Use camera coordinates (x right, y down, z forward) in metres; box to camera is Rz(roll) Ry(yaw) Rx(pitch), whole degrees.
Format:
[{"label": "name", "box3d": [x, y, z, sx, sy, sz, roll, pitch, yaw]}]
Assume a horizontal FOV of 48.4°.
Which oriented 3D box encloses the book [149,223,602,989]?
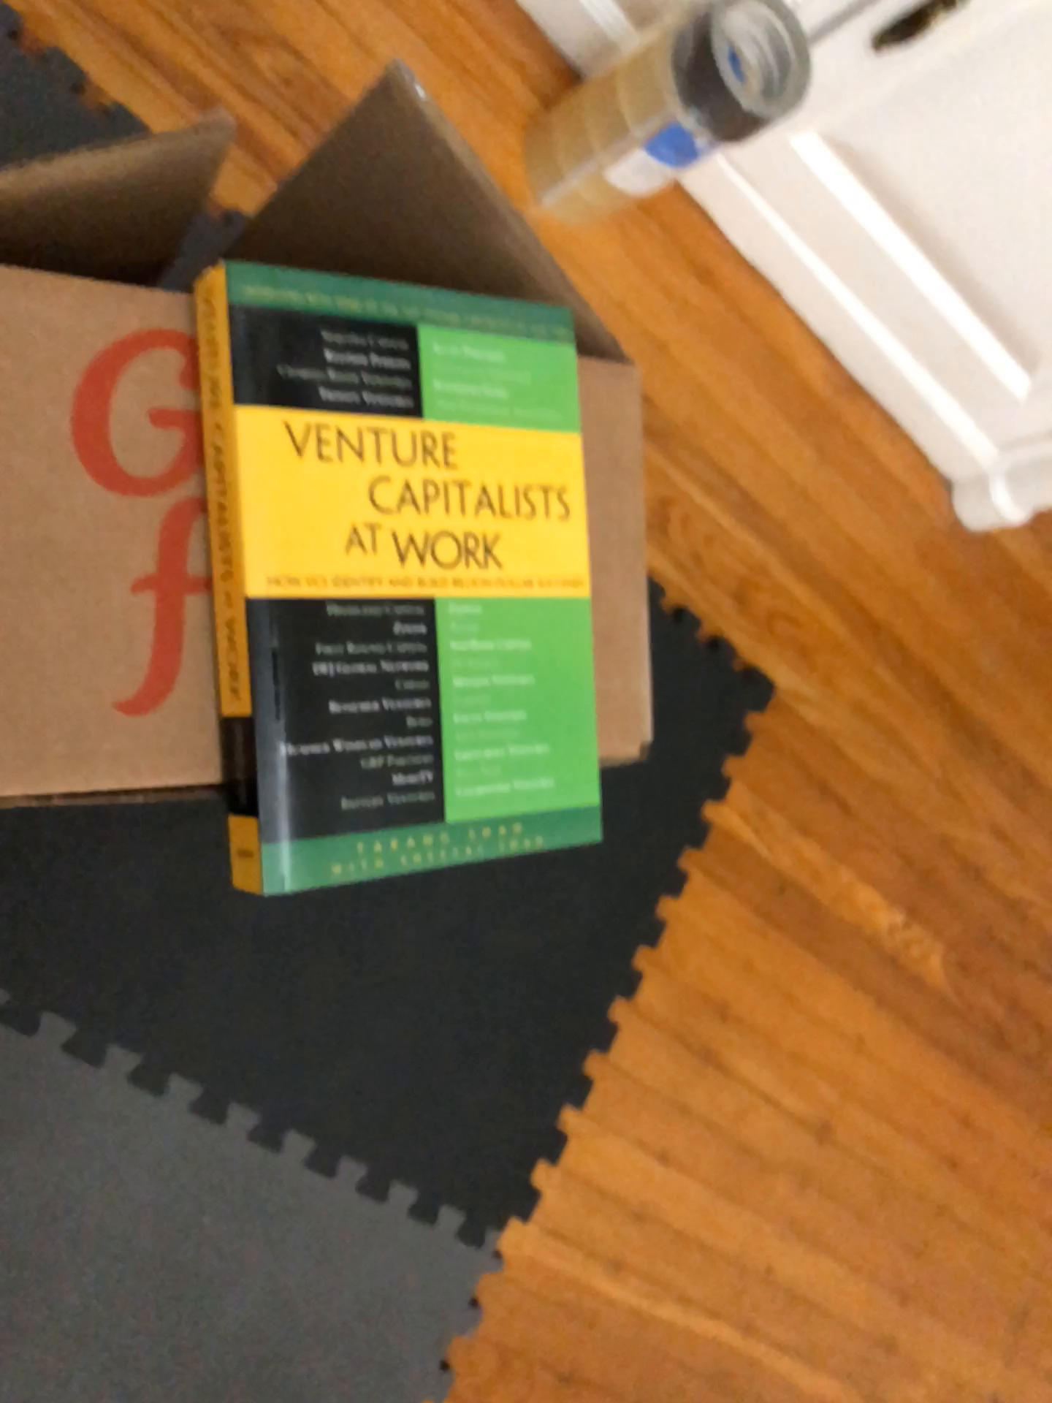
[{"label": "book", "box3d": [-0.053, -0.036, 0.457, 0.161, 0.040, 0.260, -3, 91, -32]}]
